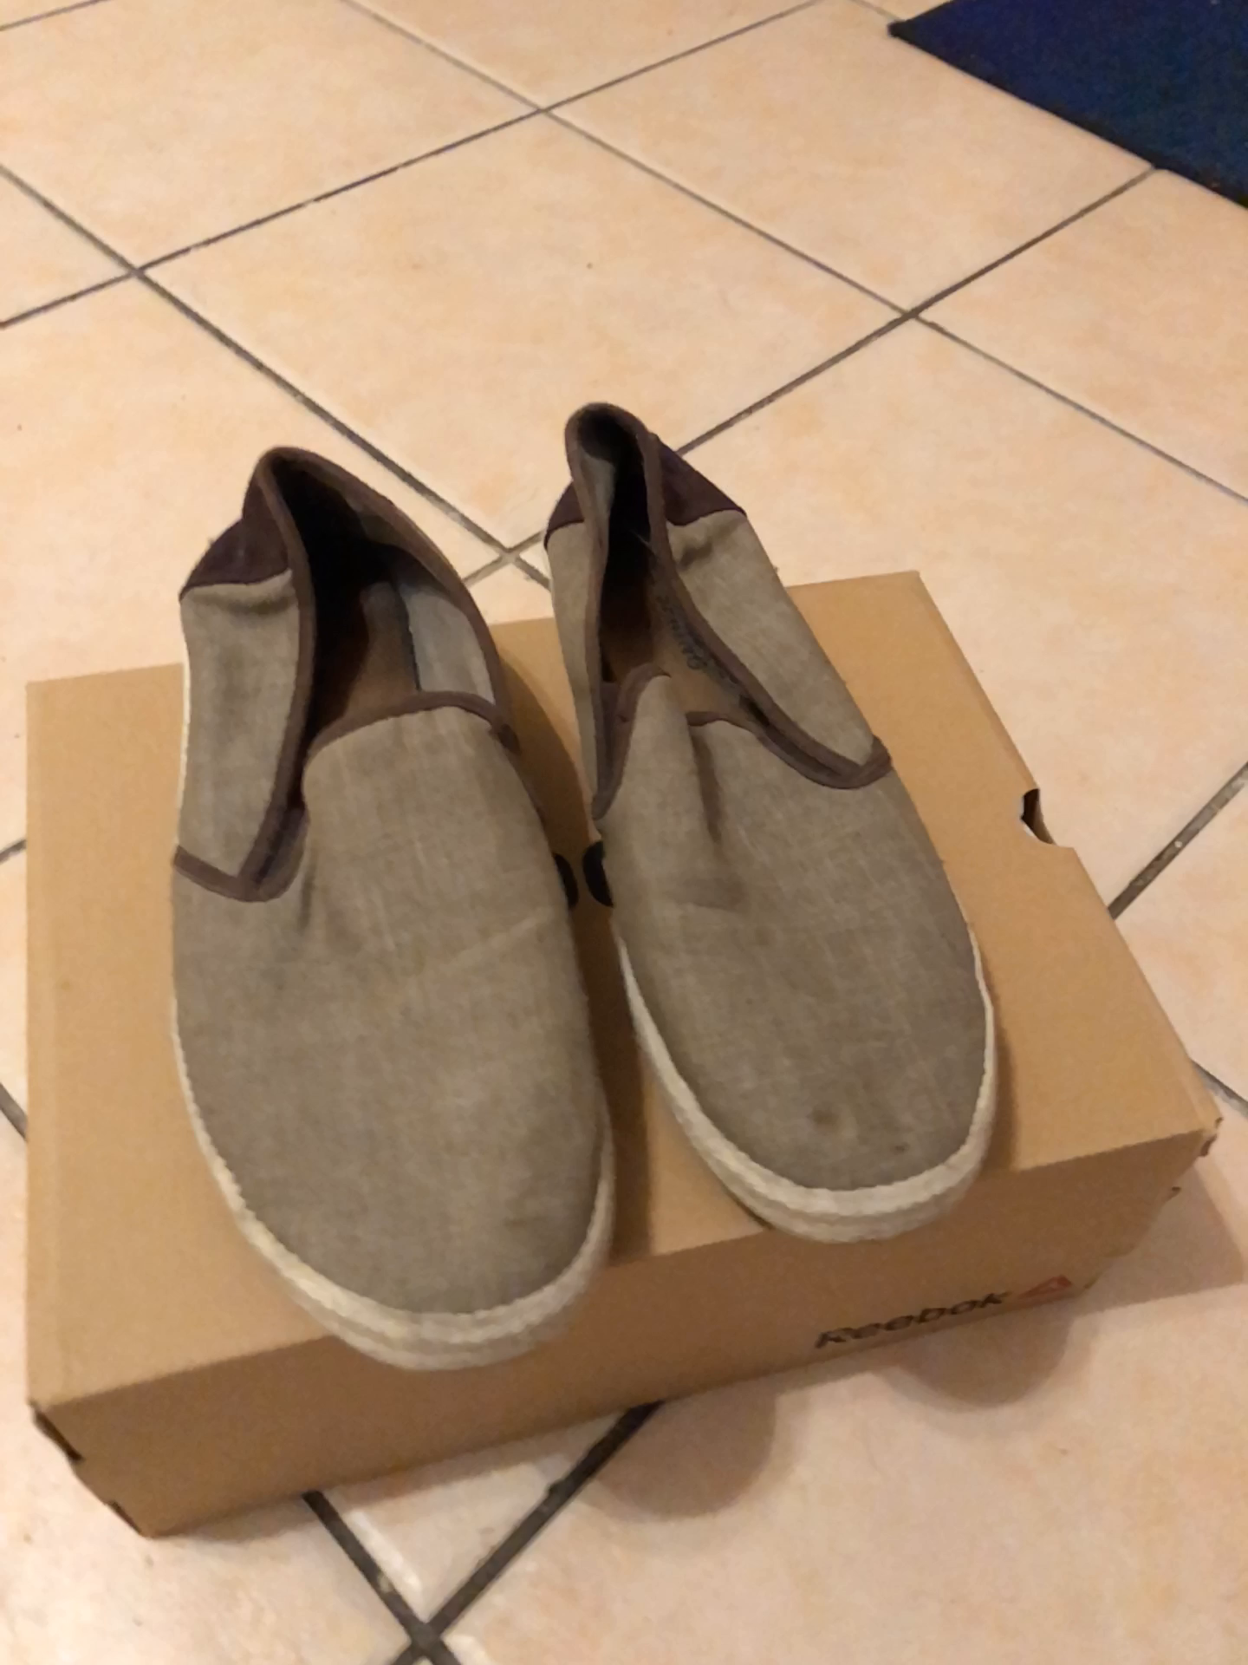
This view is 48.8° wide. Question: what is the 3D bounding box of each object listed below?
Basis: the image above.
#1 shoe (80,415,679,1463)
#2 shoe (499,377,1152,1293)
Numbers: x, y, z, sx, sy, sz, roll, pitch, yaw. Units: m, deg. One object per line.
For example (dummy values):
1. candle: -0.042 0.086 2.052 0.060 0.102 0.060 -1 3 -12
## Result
1. shoe: -0.083 0.003 0.390 0.110 0.070 0.294 -10 53 -13
2. shoe: 0.035 -0.021 0.398 0.100 0.070 0.272 -7 52 -11
